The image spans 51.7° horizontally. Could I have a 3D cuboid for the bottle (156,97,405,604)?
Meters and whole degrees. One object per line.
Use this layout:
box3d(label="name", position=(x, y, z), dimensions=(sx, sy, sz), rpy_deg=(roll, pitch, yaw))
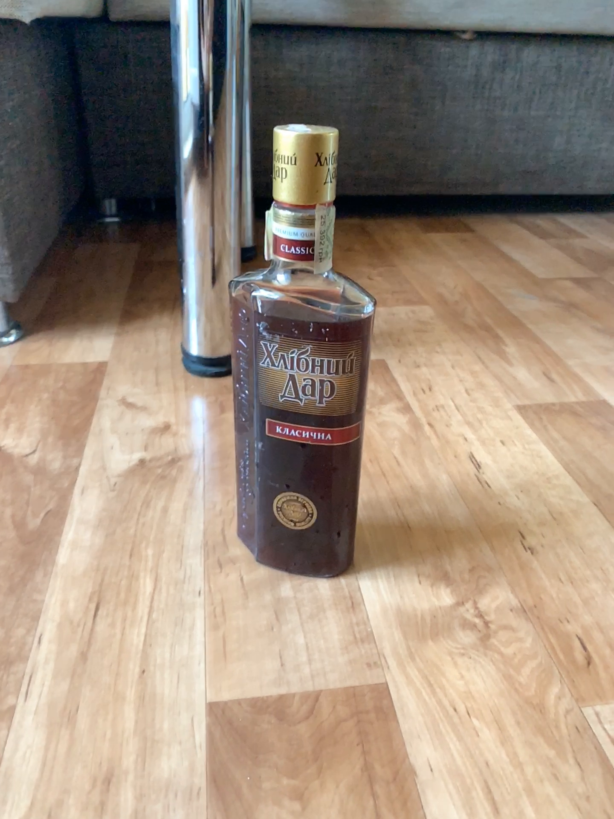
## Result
box3d(label="bottle", position=(-0.014, -0.021, 0.321), dimensions=(0.090, 0.239, 0.050), rpy_deg=(17, 33, 25))
